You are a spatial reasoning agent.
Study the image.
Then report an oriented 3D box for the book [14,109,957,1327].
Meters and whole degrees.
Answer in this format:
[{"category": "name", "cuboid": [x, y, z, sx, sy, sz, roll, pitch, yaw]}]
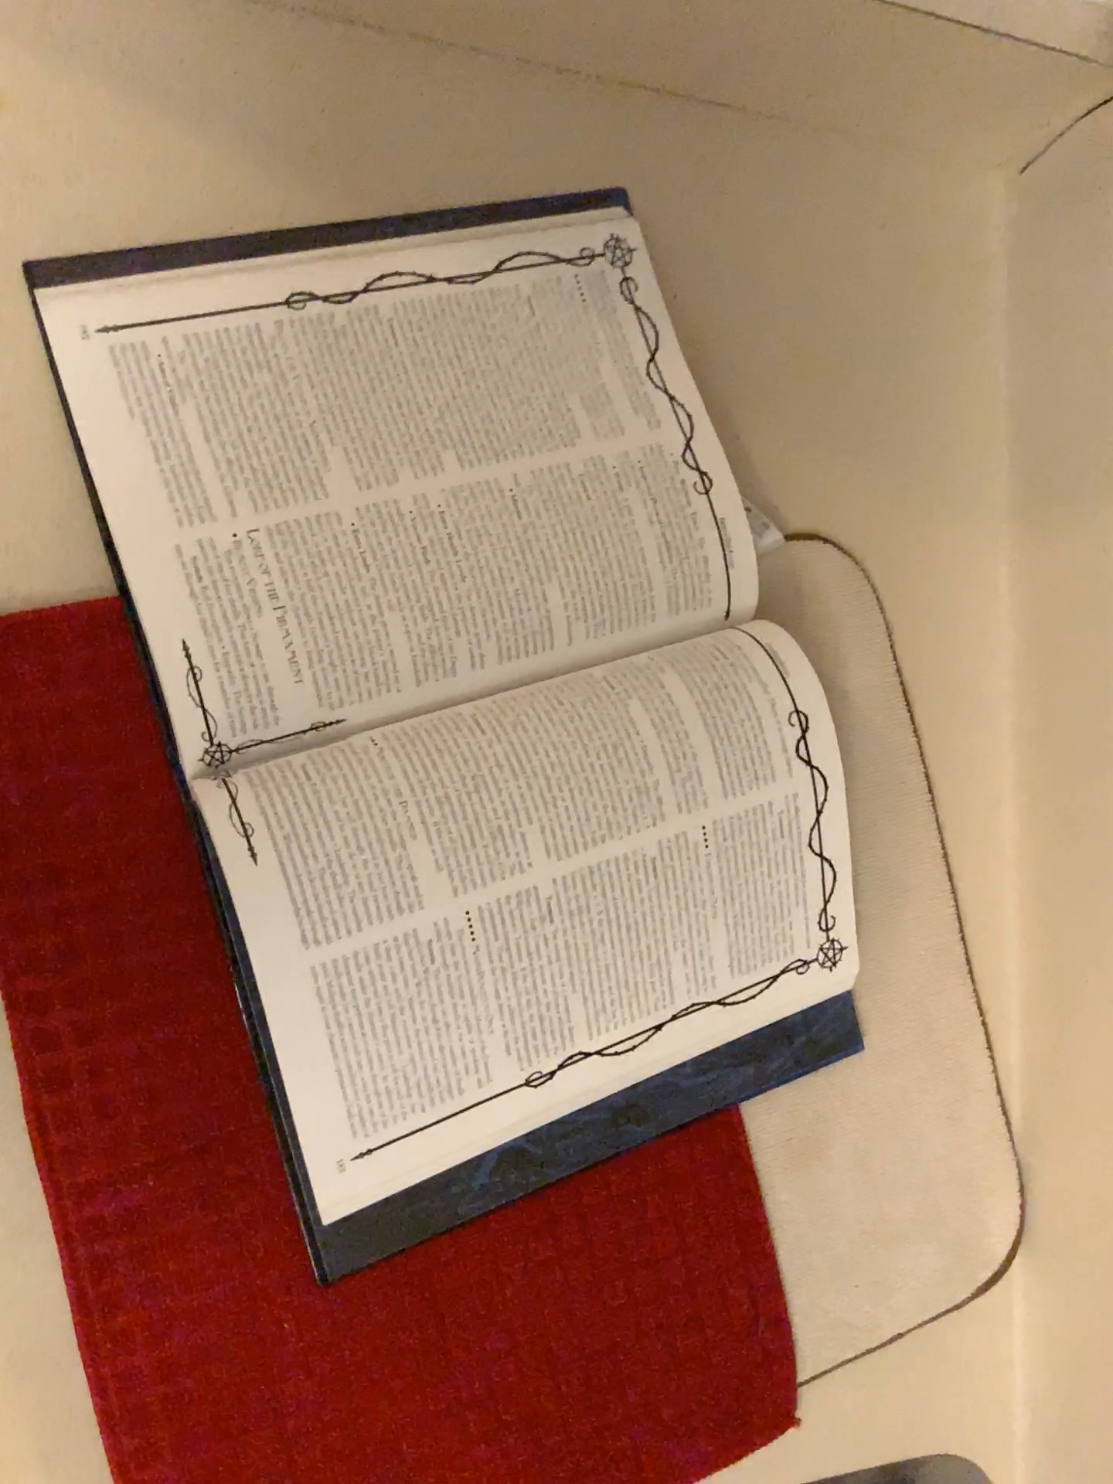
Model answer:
[{"category": "book", "cuboid": [-0.015, -0.026, 0.550, 0.290, 0.060, 0.450, -19, 94, -21]}]
